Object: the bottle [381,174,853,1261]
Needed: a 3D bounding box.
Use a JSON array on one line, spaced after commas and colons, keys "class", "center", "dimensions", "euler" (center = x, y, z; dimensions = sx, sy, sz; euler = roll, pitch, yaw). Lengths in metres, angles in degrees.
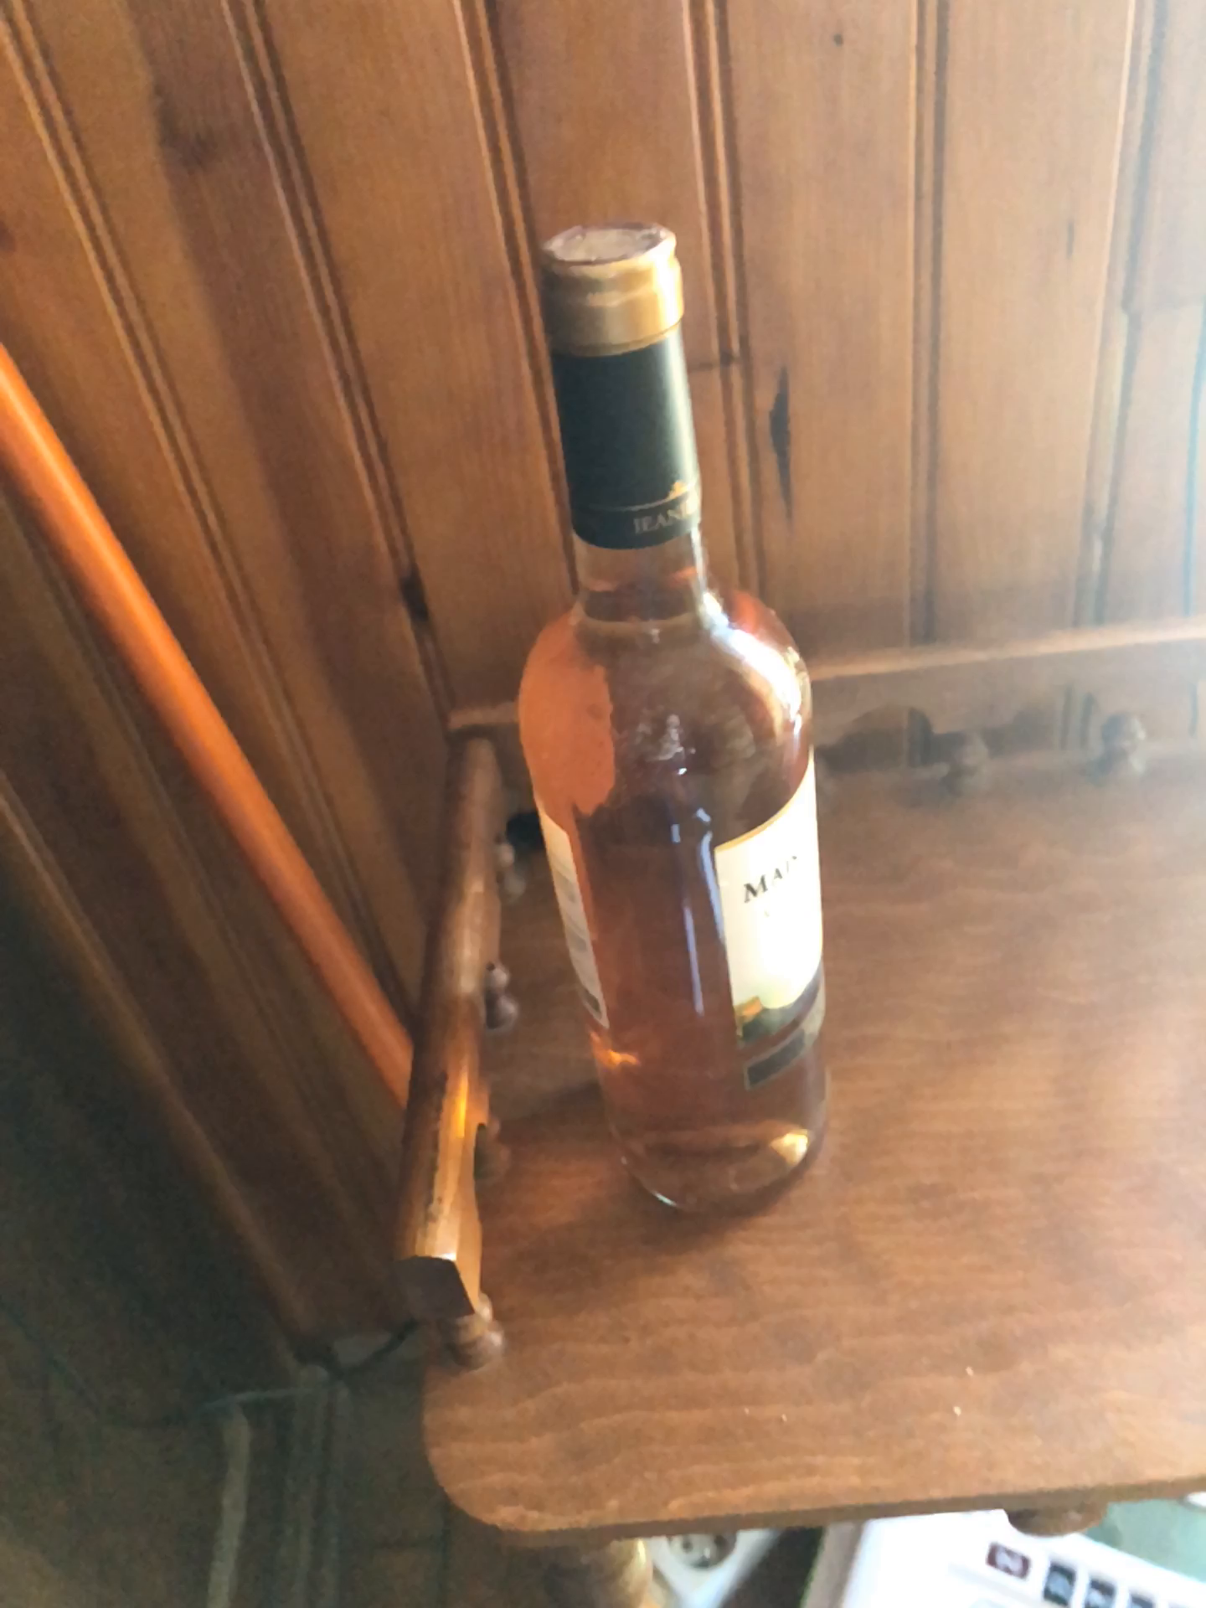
[{"class": "bottle", "center": [0.024, 0.002, 0.348], "dimensions": [0.070, 0.288, 0.081], "euler": [5, 44, 16]}]
